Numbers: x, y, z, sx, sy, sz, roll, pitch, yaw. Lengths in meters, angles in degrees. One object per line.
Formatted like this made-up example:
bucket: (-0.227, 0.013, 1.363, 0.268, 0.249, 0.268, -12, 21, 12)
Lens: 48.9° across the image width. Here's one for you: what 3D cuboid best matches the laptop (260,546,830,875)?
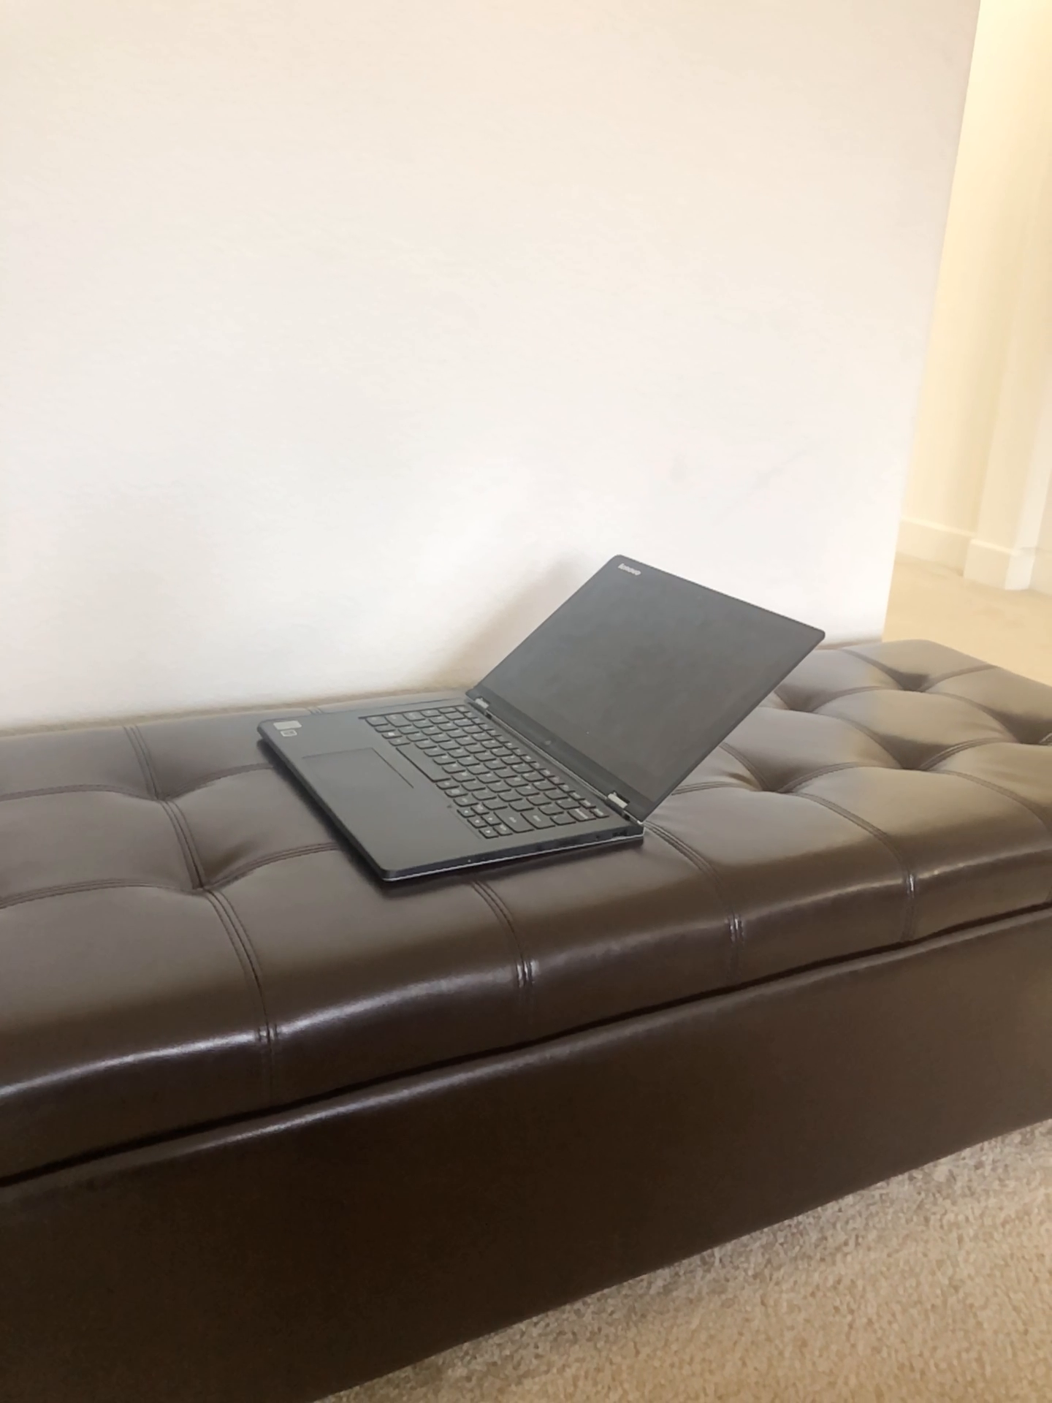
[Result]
laptop: (0.001, -0.017, 0.837, 0.317, 0.115, 0.262, -9, 22, -27)
